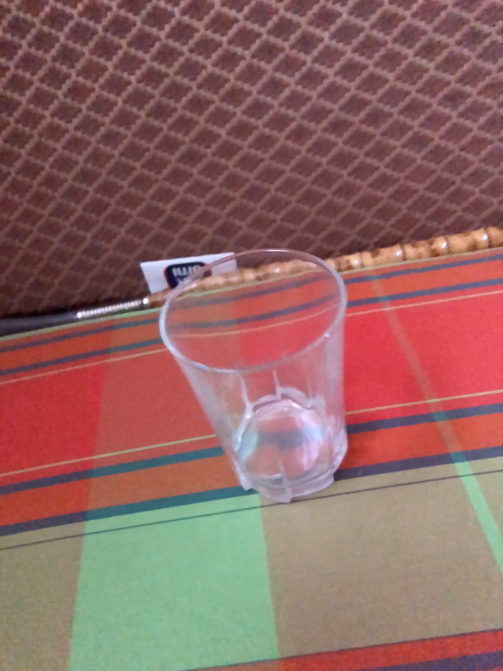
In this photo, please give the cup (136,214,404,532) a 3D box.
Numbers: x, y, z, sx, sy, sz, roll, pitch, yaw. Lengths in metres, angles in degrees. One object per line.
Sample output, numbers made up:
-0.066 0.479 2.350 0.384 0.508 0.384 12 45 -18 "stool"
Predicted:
0.009 0.013 0.222 0.070 0.080 0.070 -7 43 6 "cup"
